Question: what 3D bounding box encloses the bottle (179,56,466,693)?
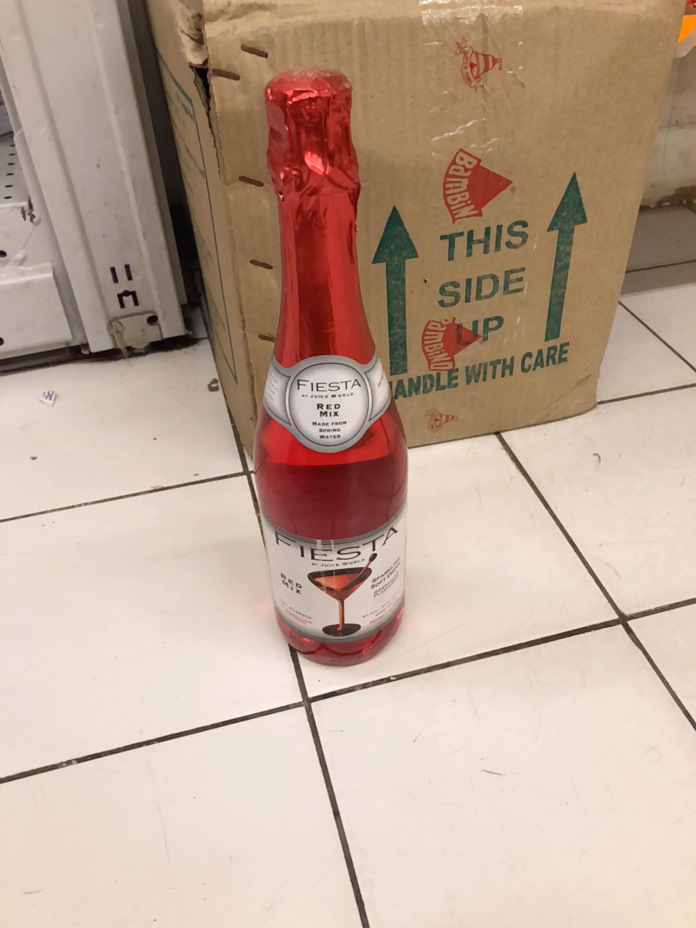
[{"bbox_3d":[-0.010,-0.017,0.366,0.090,0.298,0.080,-7,41,-6],"label":"bottle"}]
